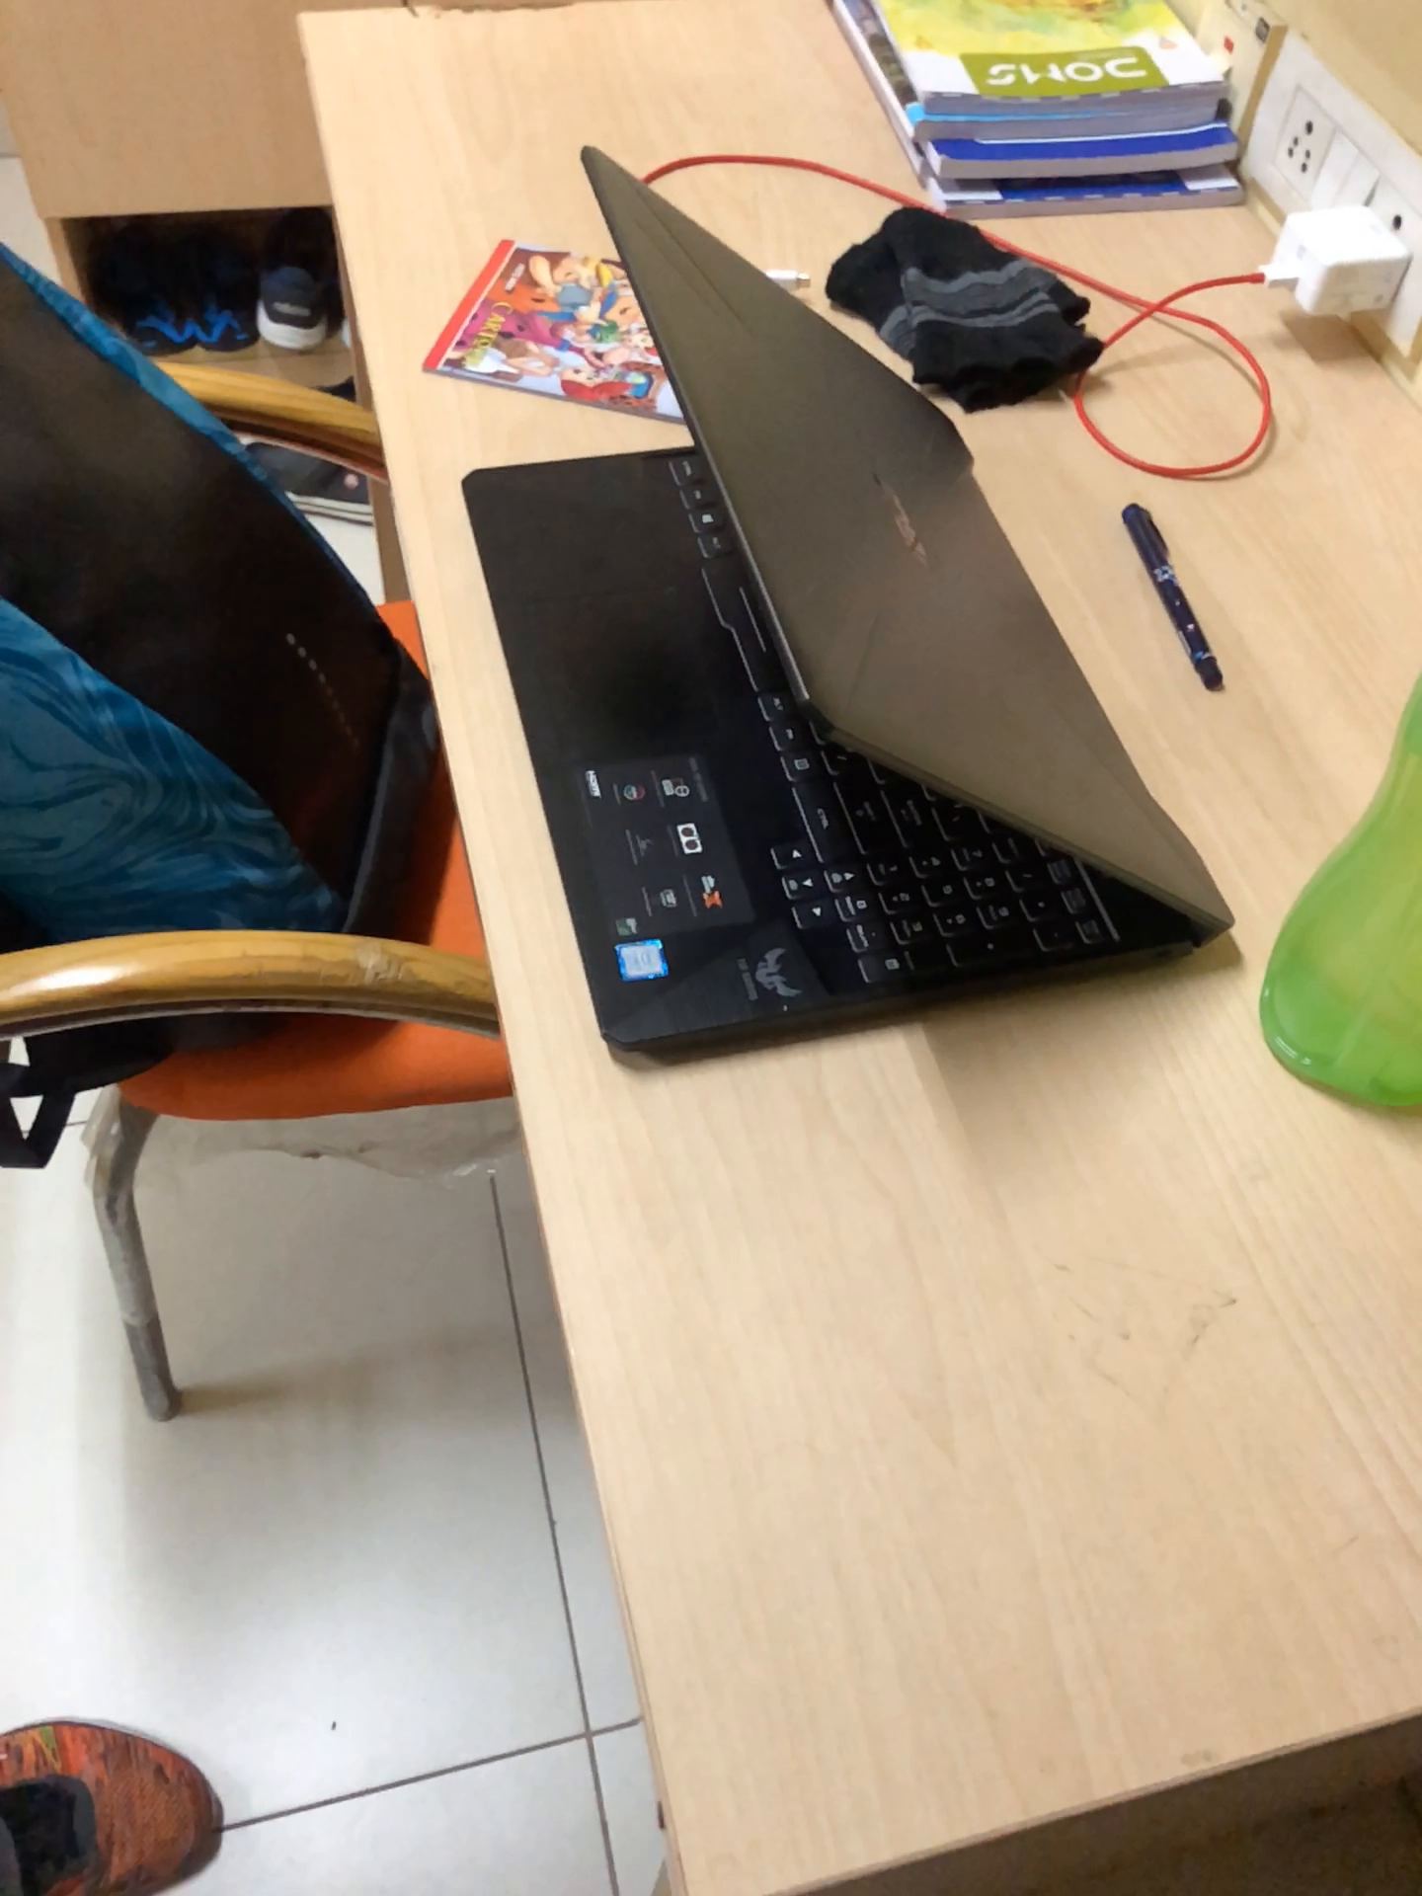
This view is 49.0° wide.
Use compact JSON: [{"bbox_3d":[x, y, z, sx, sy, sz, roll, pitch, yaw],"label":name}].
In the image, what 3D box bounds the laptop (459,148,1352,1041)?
[{"bbox_3d":[0.047,-0.165,0.654,0.248,0.147,0.340,-11,54,-9],"label":"laptop"}]
